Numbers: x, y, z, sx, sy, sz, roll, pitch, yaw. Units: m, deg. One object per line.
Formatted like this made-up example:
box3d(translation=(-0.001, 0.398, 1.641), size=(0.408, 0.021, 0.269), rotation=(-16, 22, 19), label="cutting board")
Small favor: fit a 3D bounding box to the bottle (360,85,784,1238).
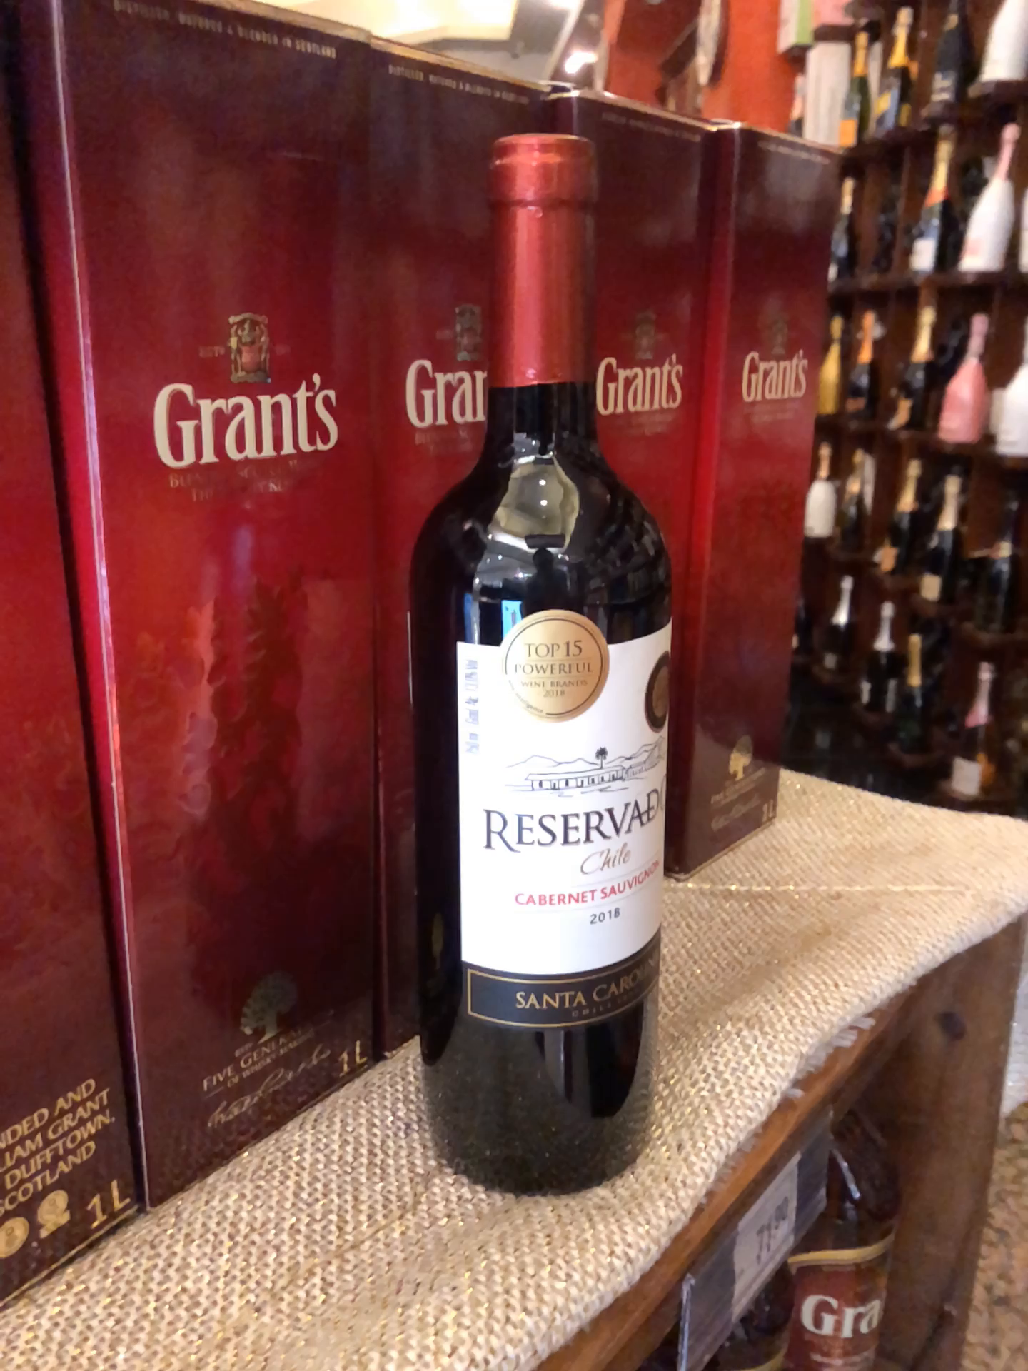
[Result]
box3d(translation=(0.010, -0.001, 0.325), size=(0.080, 0.288, 0.070), rotation=(-10, 20, -33), label="bottle")
